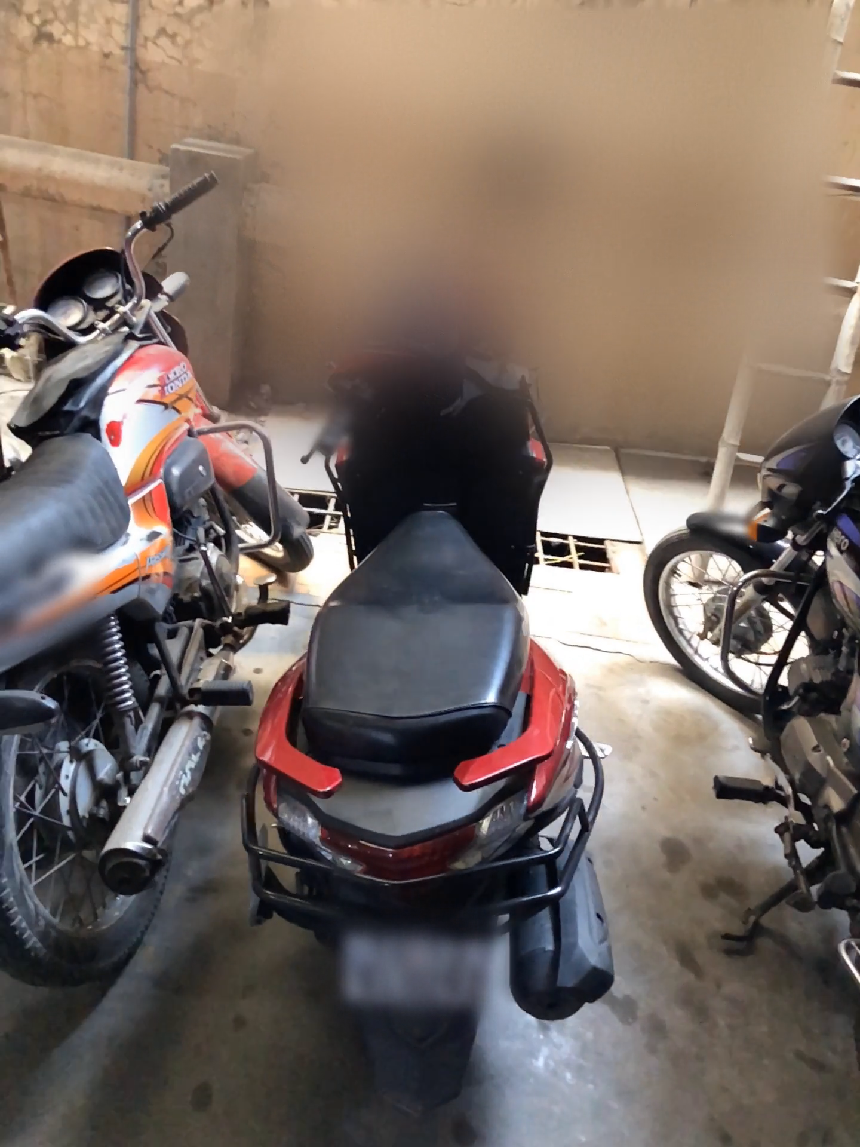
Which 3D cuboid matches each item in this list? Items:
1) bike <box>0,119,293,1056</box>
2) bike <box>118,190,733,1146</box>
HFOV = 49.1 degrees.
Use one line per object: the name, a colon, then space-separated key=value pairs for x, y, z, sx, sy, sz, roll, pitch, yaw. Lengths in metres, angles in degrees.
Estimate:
bike: x=-0.826 y=-0.173 z=1.907 sx=0.838 sy=1.089 sz=1.657 roll=8 pitch=30 yaw=-6
bike: x=-0.109 y=0.052 z=1.850 sx=0.630 sy=1.140 sz=1.445 roll=8 pitch=32 yaw=-6
